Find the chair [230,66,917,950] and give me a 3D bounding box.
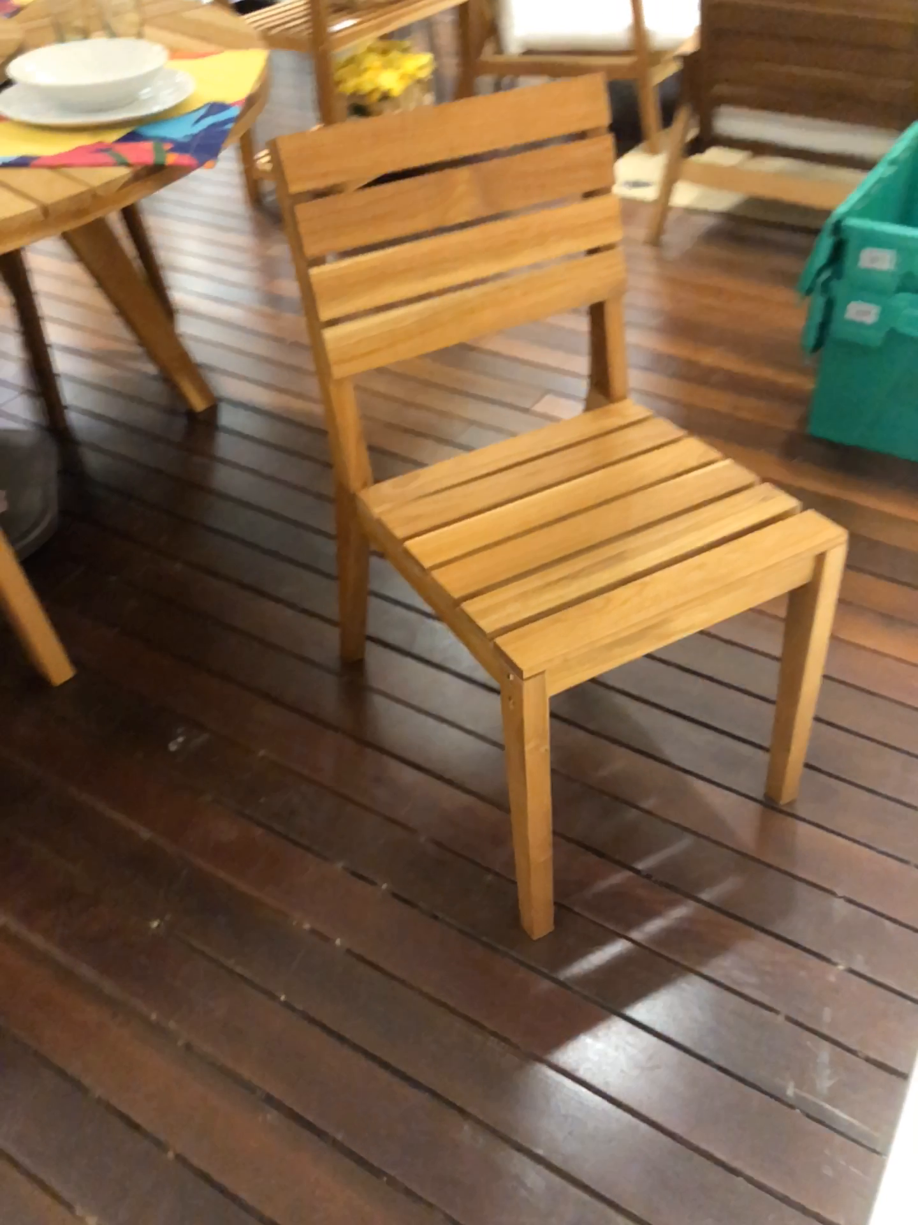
[{"bbox_3d":[0.115,-0.139,1.224,0.461,0.764,0.604,-22,45,-21],"label":"chair"}]
